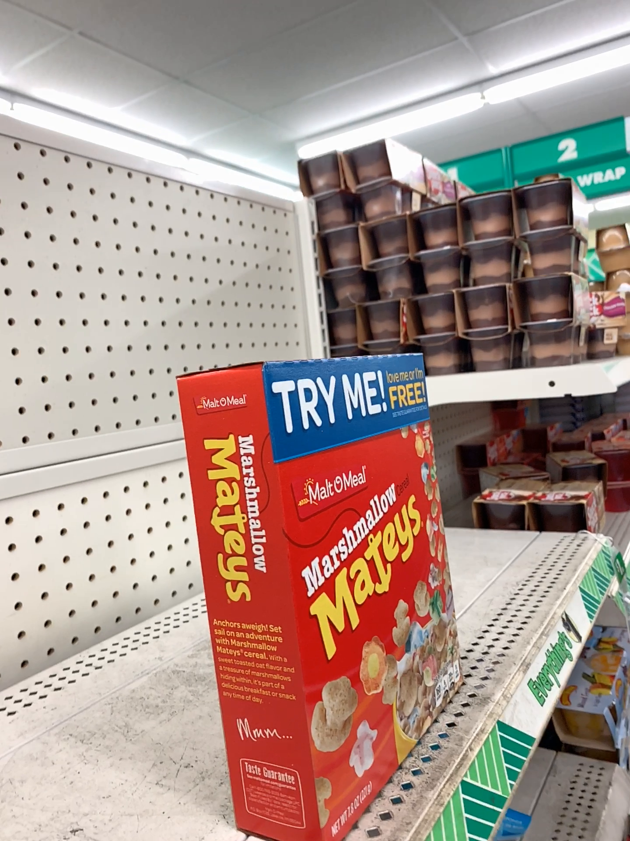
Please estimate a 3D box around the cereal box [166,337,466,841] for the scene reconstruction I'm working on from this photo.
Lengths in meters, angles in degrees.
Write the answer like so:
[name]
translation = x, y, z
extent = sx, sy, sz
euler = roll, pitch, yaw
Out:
[cereal box]
translation = 0.016, 0.072, 0.368
extent = 0.050, 0.230, 0.180
euler = -5, 4, 34
